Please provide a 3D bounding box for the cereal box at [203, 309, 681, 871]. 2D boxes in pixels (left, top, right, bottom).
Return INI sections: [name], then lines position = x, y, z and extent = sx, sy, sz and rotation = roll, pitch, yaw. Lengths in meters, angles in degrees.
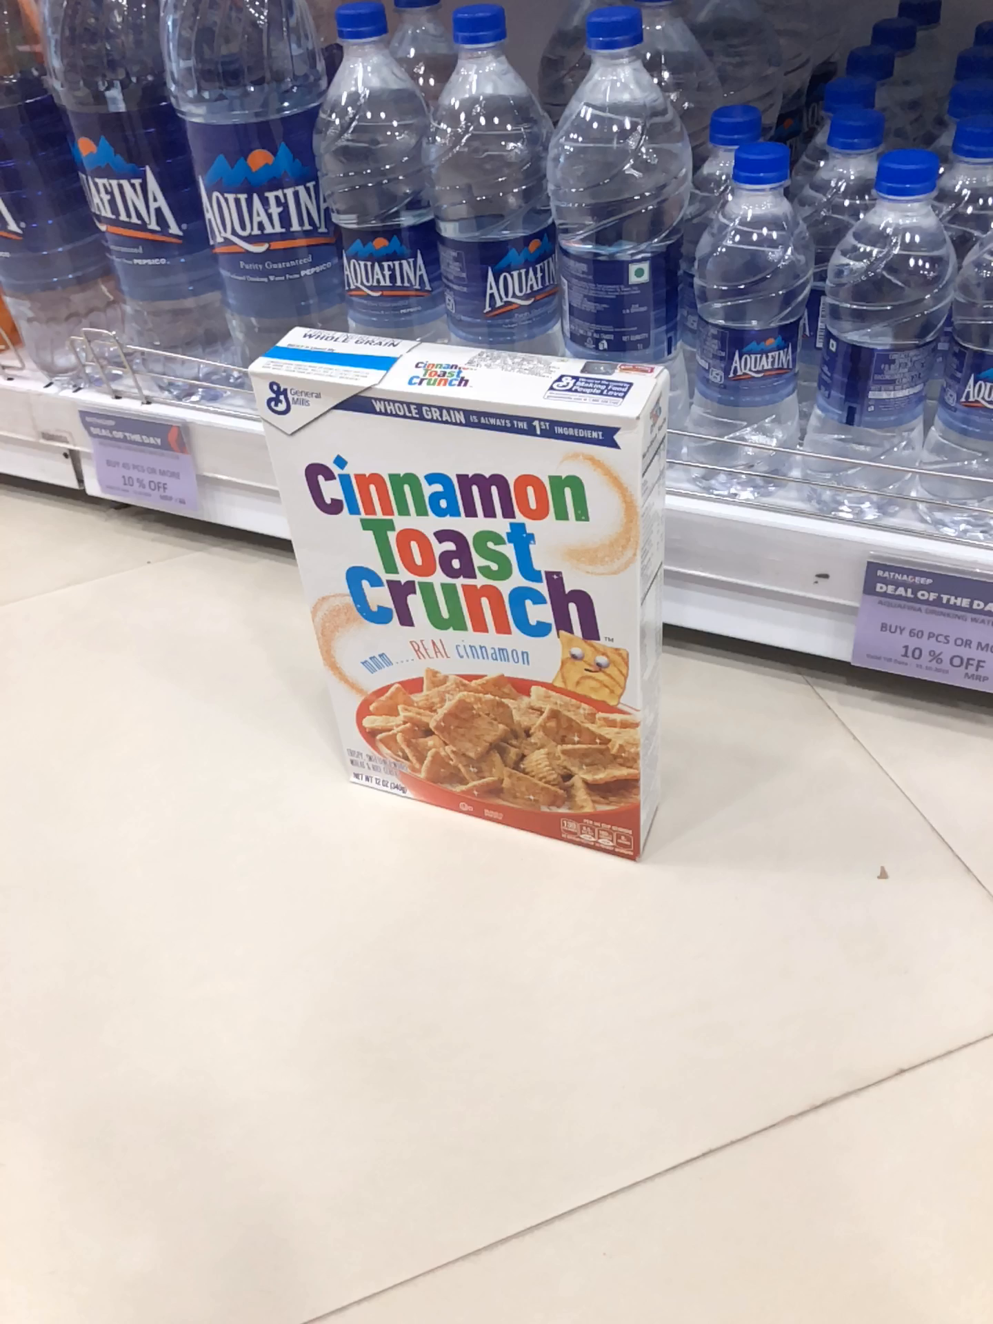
[cereal box]
position = -0.013, -0.027, 0.561
extent = 0.200, 0.278, 0.060
rotation = 12, 45, 20
